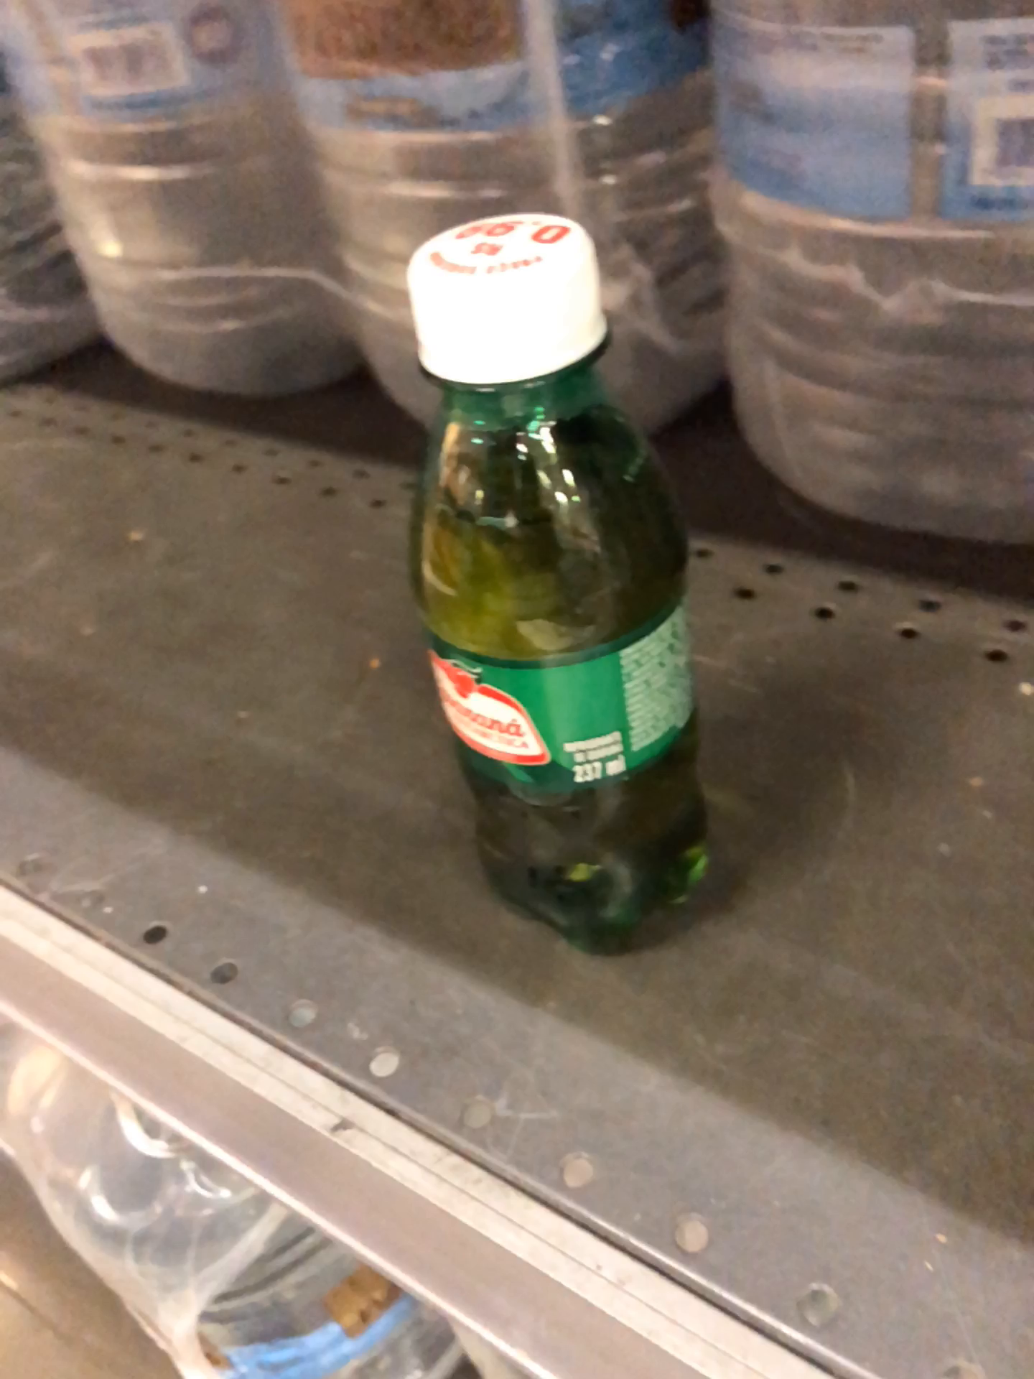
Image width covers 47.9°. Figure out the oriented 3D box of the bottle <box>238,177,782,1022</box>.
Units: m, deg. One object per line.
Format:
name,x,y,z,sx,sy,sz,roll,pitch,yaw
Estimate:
bottle,0.009,-0.012,0.232,0.060,0.149,0.060,-7,41,6
